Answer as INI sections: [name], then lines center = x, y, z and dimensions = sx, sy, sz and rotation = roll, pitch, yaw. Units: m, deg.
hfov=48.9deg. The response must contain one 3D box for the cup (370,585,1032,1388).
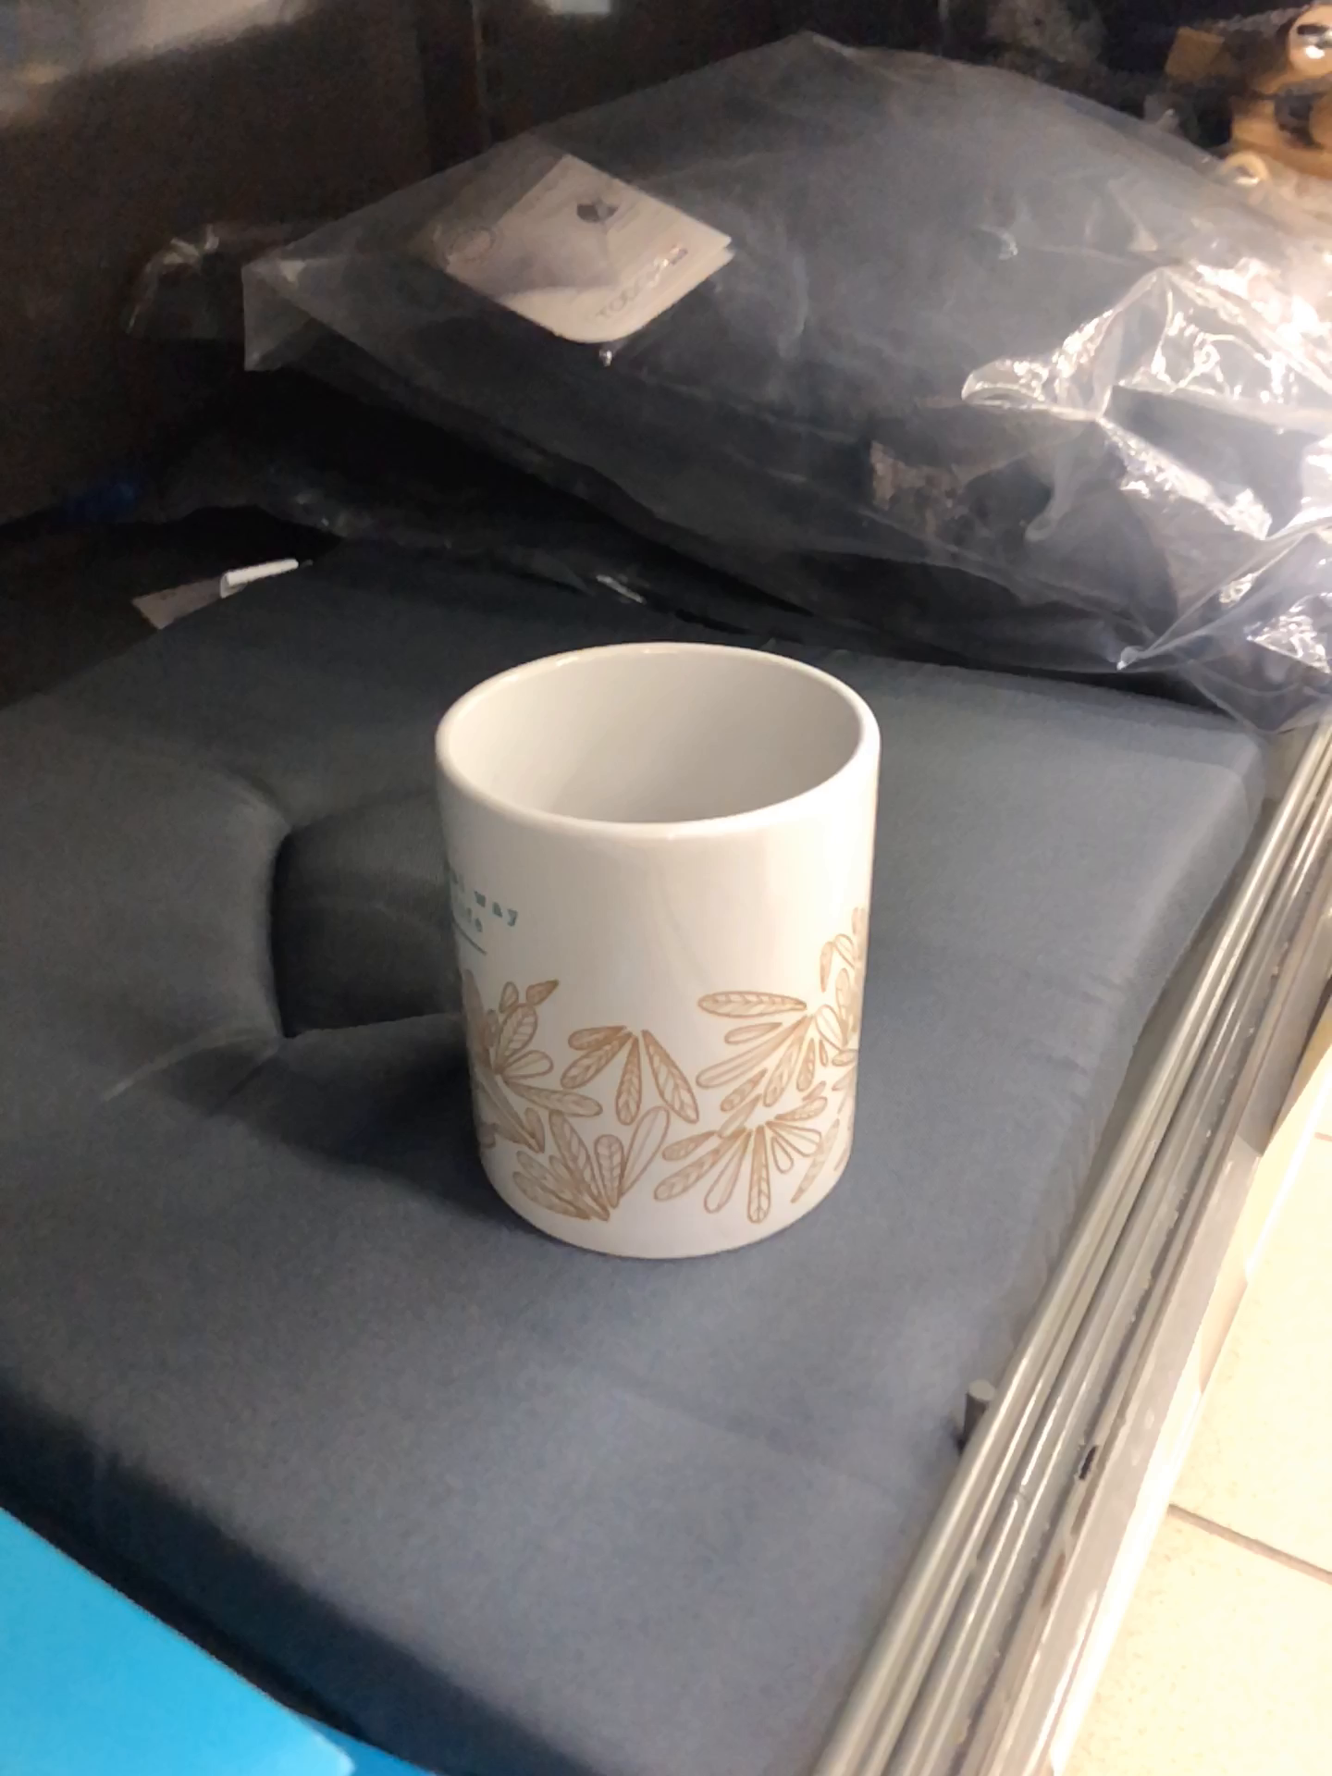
[cup]
center = -0.001, 0.011, 0.302
dimensions = 0.090, 0.099, 0.121
rotation = -11, 33, -15
